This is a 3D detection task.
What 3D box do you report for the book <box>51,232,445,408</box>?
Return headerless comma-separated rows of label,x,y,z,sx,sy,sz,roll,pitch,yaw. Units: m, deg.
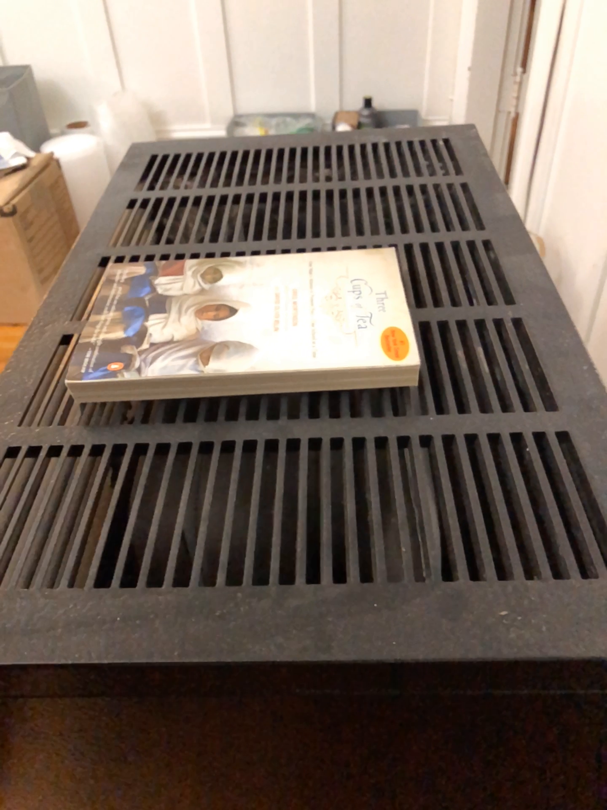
book,-0.032,-0.061,0.438,0.220,0.030,0.141,-3,41,0
